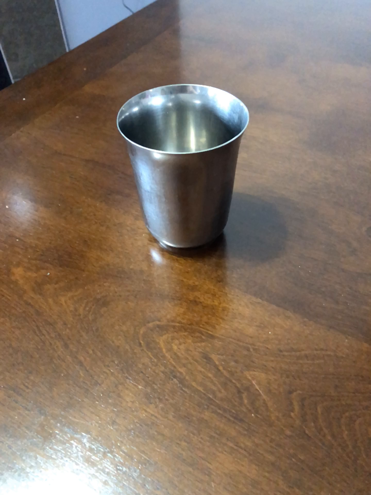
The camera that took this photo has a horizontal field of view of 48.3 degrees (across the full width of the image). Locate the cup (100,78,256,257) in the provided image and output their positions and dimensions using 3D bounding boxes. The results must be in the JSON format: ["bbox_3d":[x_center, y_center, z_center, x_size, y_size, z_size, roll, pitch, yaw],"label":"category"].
[{"bbox_3d":[0.000,-0.055,0.279,0.080,0.080,0.080,-1,47,1],"label":"cup"}]
